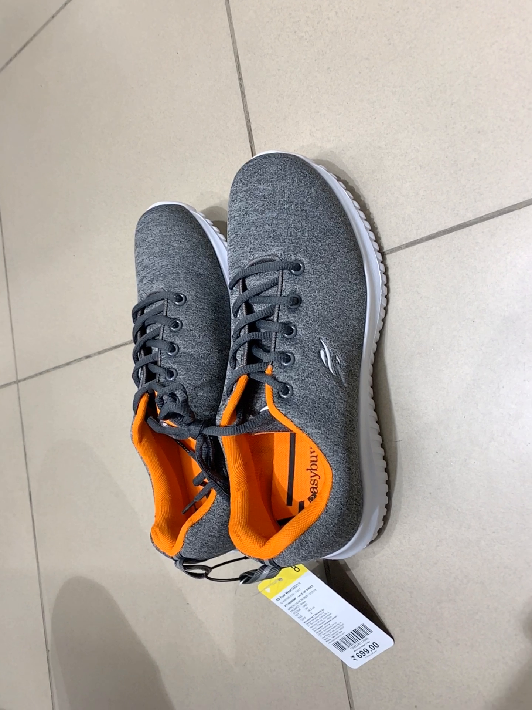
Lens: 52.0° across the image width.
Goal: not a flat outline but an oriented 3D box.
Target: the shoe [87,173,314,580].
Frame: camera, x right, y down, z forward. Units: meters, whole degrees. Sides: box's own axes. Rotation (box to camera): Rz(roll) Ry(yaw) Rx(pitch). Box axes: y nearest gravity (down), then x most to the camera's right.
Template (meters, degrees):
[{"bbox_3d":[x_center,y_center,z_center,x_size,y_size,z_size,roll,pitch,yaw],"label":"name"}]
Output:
[{"bbox_3d":[-0.055,0.019,0.432,0.101,0.090,0.280,-17,79,36],"label":"shoe"}]

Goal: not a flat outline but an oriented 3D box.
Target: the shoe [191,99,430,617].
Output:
[{"bbox_3d":[0.029,0.003,0.379,0.101,0.090,0.300,-10,83,37],"label":"shoe"}]
